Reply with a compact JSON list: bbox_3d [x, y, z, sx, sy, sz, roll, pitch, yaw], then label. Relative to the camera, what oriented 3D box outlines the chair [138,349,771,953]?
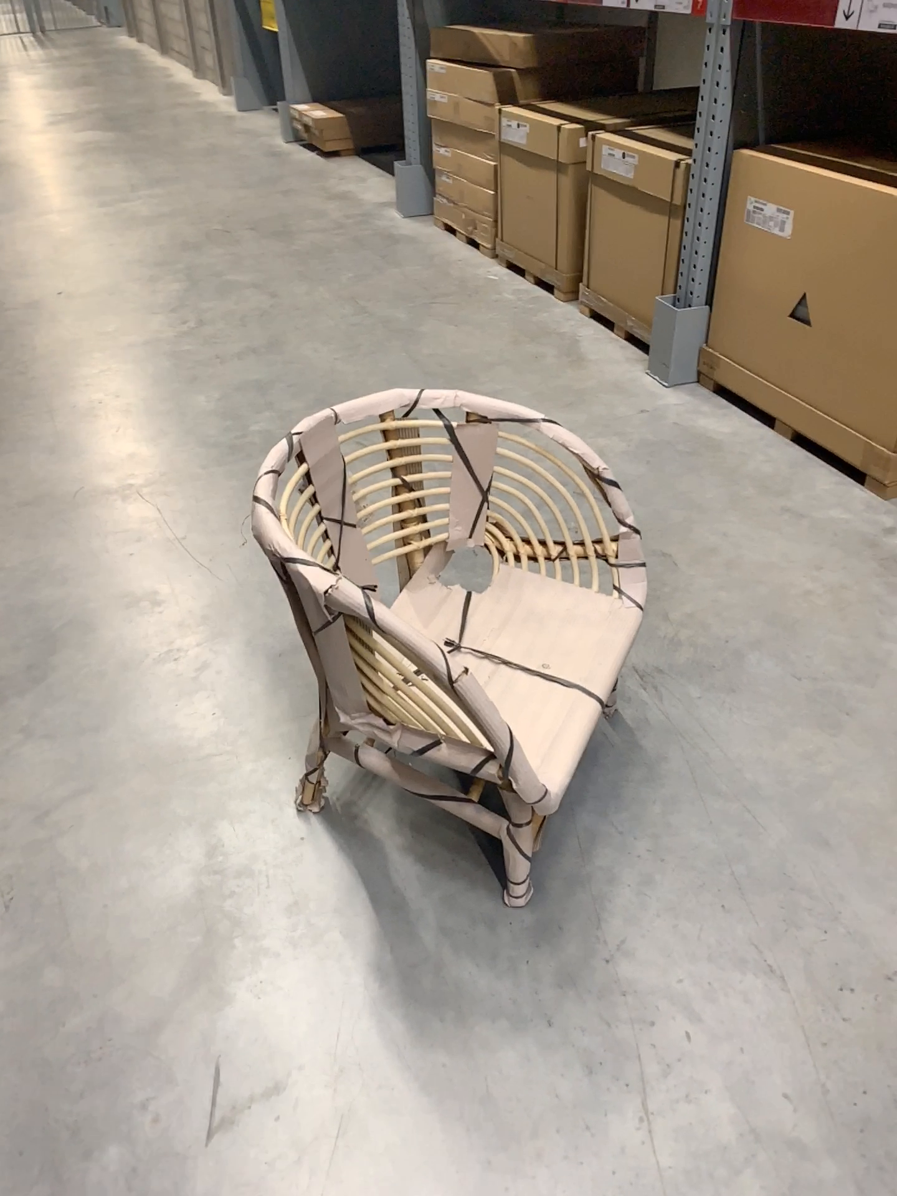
[{"bbox_3d":[0.062,0.011,1.618,0.761,0.567,0.752,15,39,22],"label":"chair"}]
